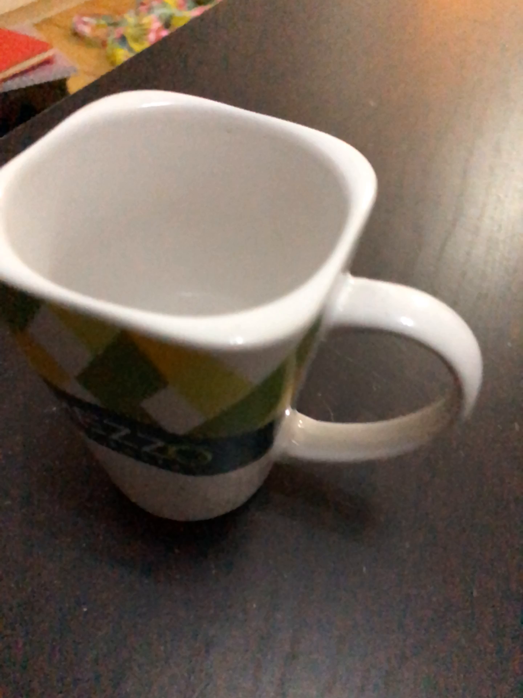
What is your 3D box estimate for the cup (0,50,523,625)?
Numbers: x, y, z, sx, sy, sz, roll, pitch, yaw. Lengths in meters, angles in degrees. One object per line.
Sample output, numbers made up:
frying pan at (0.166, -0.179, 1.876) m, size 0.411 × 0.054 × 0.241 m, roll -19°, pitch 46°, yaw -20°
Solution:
cup at (-0.001, -0.004, 0.149) m, size 0.110 × 0.089 × 0.080 m, roll 18°, pitch 49°, yaw 10°
